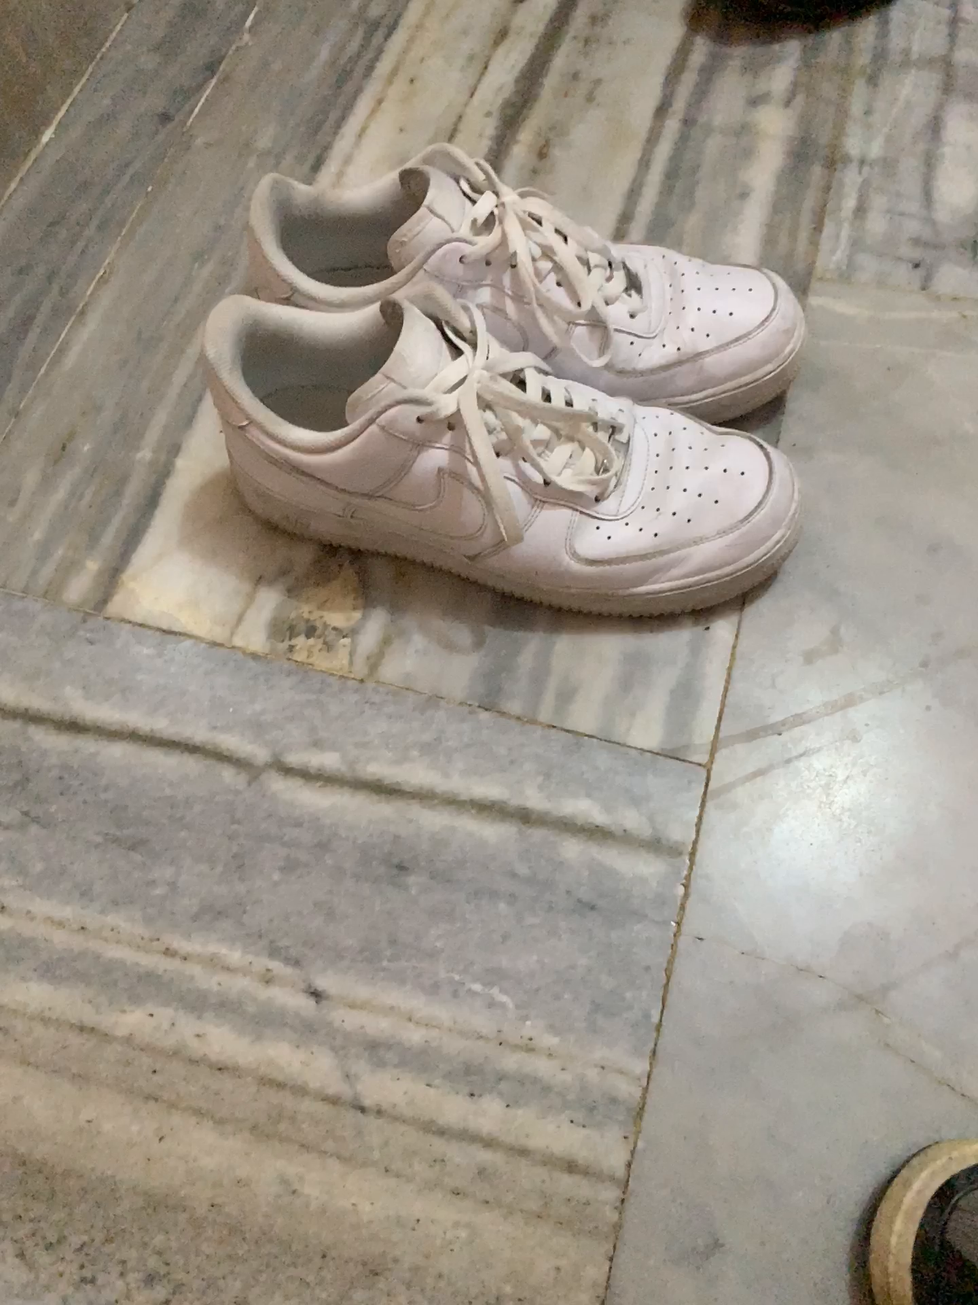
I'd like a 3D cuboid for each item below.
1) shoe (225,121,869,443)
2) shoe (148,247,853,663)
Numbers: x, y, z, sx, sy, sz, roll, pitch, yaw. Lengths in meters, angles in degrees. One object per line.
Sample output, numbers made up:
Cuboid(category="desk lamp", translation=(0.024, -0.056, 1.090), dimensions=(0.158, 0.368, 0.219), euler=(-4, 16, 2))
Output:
Cuboid(category="shoe", translation=(0.032, -0.205, 0.559), dimensions=(0.310, 0.120, 0.110), euler=(3, 64, 6))
Cuboid(category="shoe", translation=(0.007, -0.102, 0.519), dimensions=(0.310, 0.120, 0.110), euler=(12, 65, 10))
